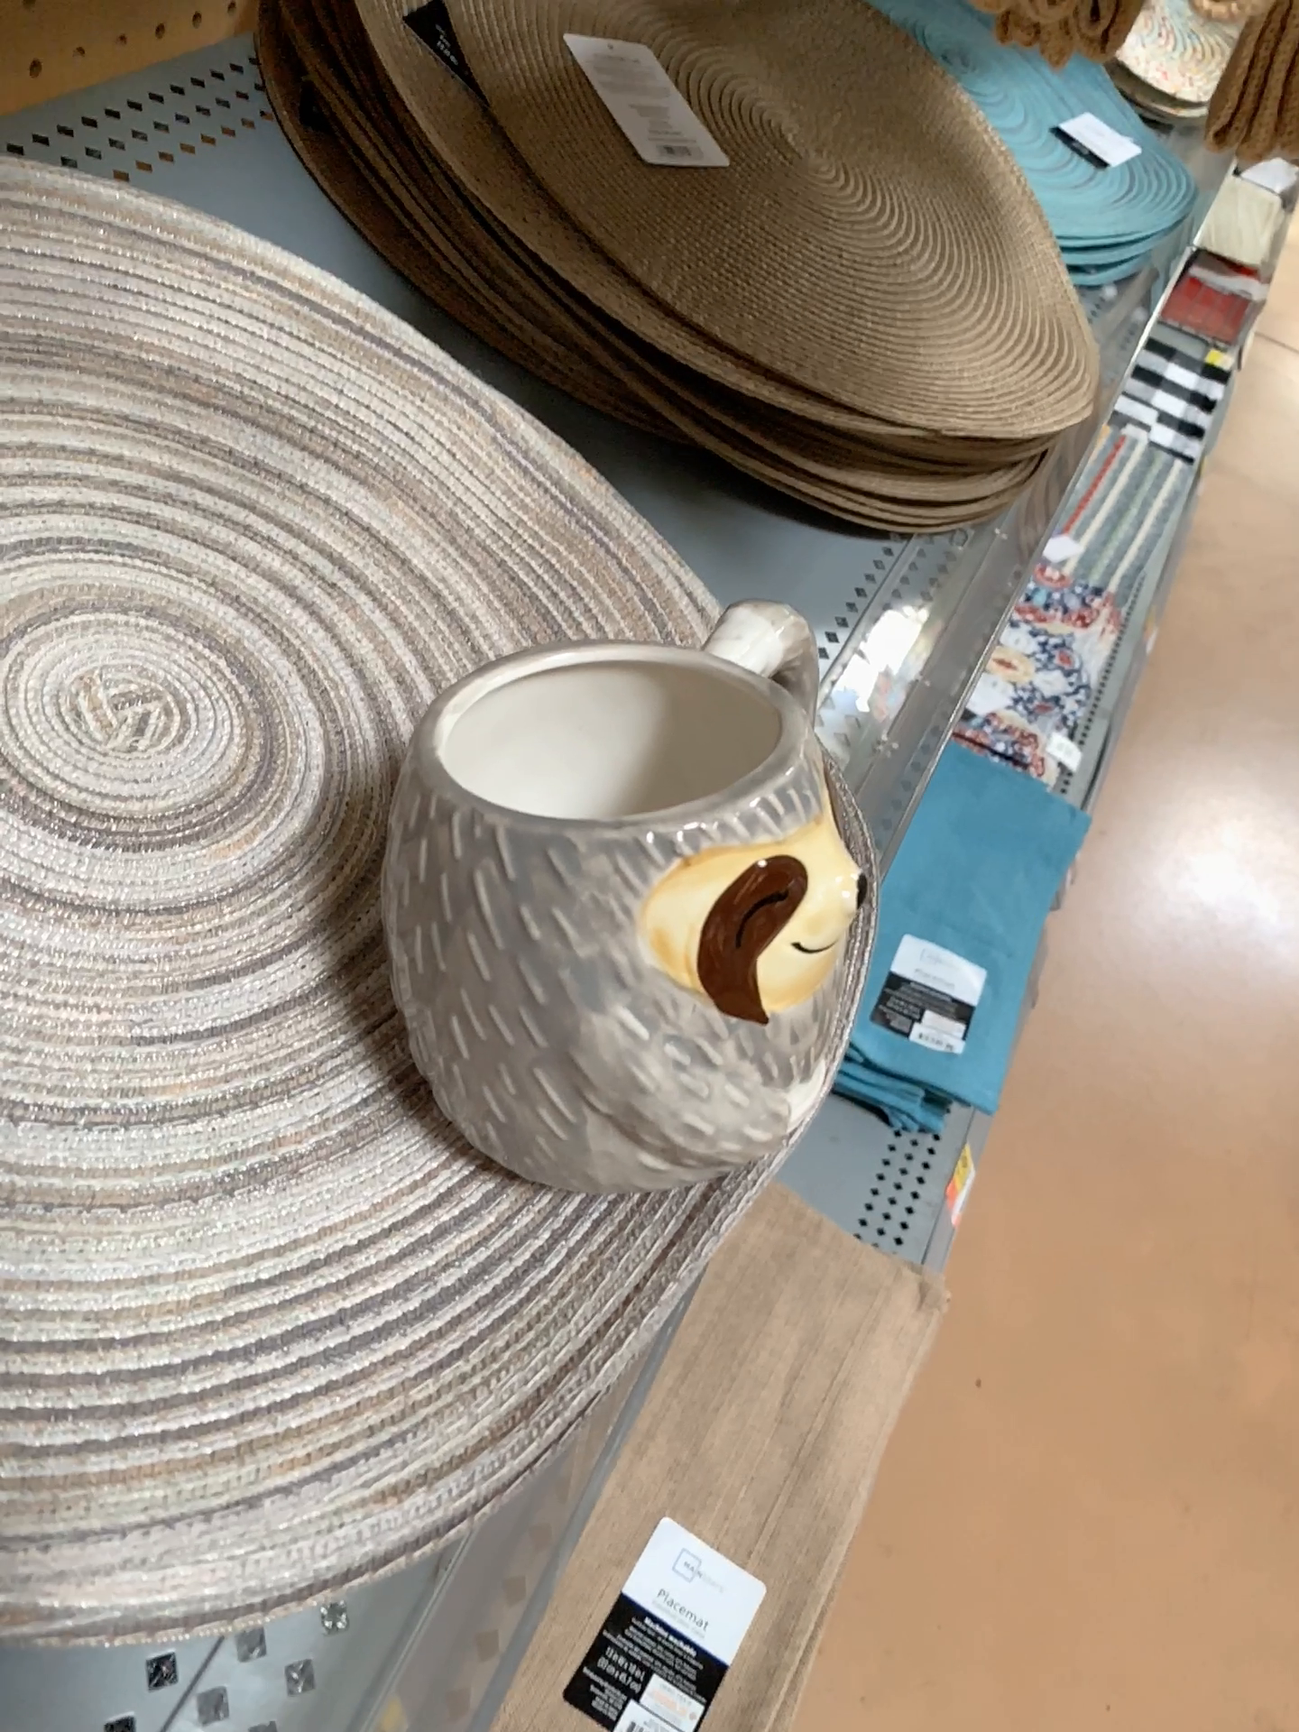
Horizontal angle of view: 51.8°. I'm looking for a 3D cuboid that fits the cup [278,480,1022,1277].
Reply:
[{"bbox_3d":[0.011,-0.010,0.307,0.106,0.089,0.151,15,41,17],"label":"cup"}]
